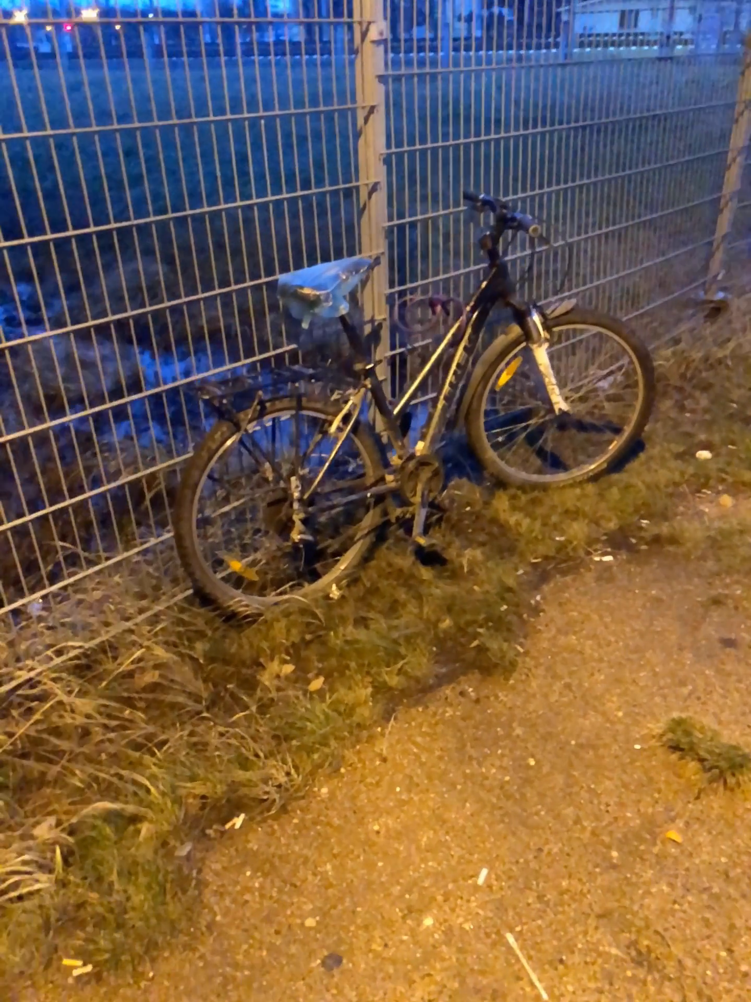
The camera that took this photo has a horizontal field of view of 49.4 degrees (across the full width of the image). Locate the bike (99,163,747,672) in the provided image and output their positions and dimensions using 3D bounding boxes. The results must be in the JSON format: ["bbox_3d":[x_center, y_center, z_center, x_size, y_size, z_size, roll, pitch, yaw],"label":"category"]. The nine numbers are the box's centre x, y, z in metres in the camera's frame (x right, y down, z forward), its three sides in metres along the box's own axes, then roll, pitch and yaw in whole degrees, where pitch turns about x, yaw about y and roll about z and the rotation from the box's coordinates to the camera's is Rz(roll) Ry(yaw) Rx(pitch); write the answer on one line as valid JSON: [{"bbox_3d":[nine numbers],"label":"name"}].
[{"bbox_3d":[0.173,-0.331,2.354,1.586,0.947,0.572,-18,33,-24],"label":"bike"}]
